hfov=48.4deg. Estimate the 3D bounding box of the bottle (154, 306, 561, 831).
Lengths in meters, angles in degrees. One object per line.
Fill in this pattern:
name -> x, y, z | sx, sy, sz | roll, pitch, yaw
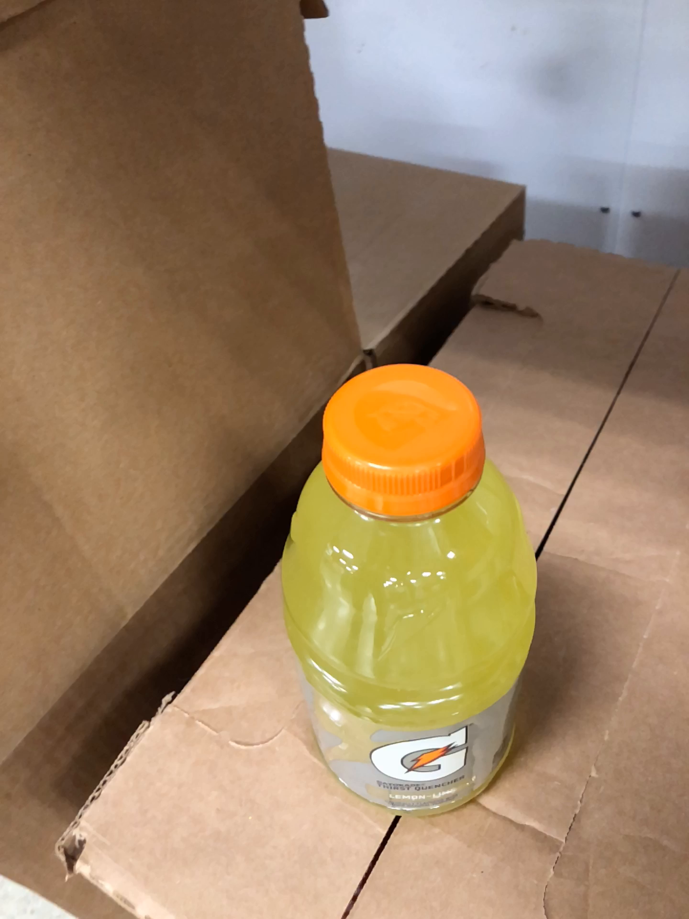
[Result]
bottle -> 0.016, 0.059, 0.294 | 0.100, 0.210, 0.090 | -5, 47, 6
